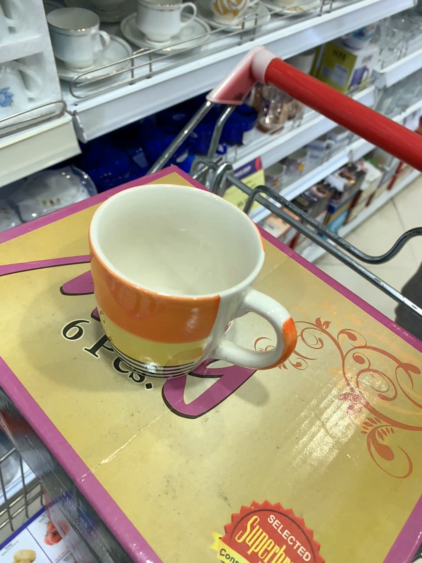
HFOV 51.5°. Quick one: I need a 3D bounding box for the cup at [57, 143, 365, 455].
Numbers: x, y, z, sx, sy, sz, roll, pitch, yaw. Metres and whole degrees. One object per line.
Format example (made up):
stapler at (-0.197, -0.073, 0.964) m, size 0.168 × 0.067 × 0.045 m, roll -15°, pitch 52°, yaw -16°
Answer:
cup at (-0.002, 0.002, 0.191) m, size 0.090 × 0.070 × 0.080 m, roll 31°, pitch 46°, yaw 18°
